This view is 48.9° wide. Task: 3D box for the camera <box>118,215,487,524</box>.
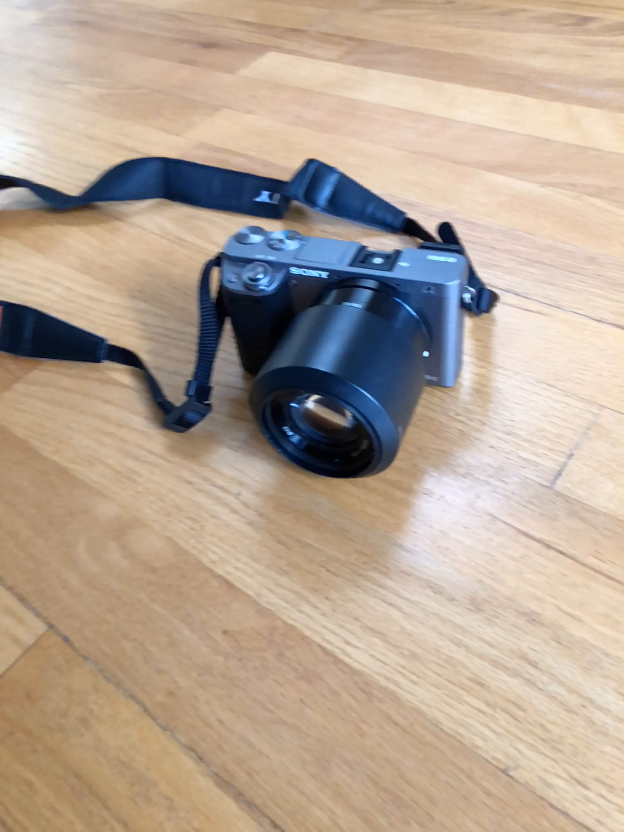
[{"bbox_3d":[0.003,-0.029,0.333,0.136,0.079,0.107,11,49,19],"label":"camera"}]
